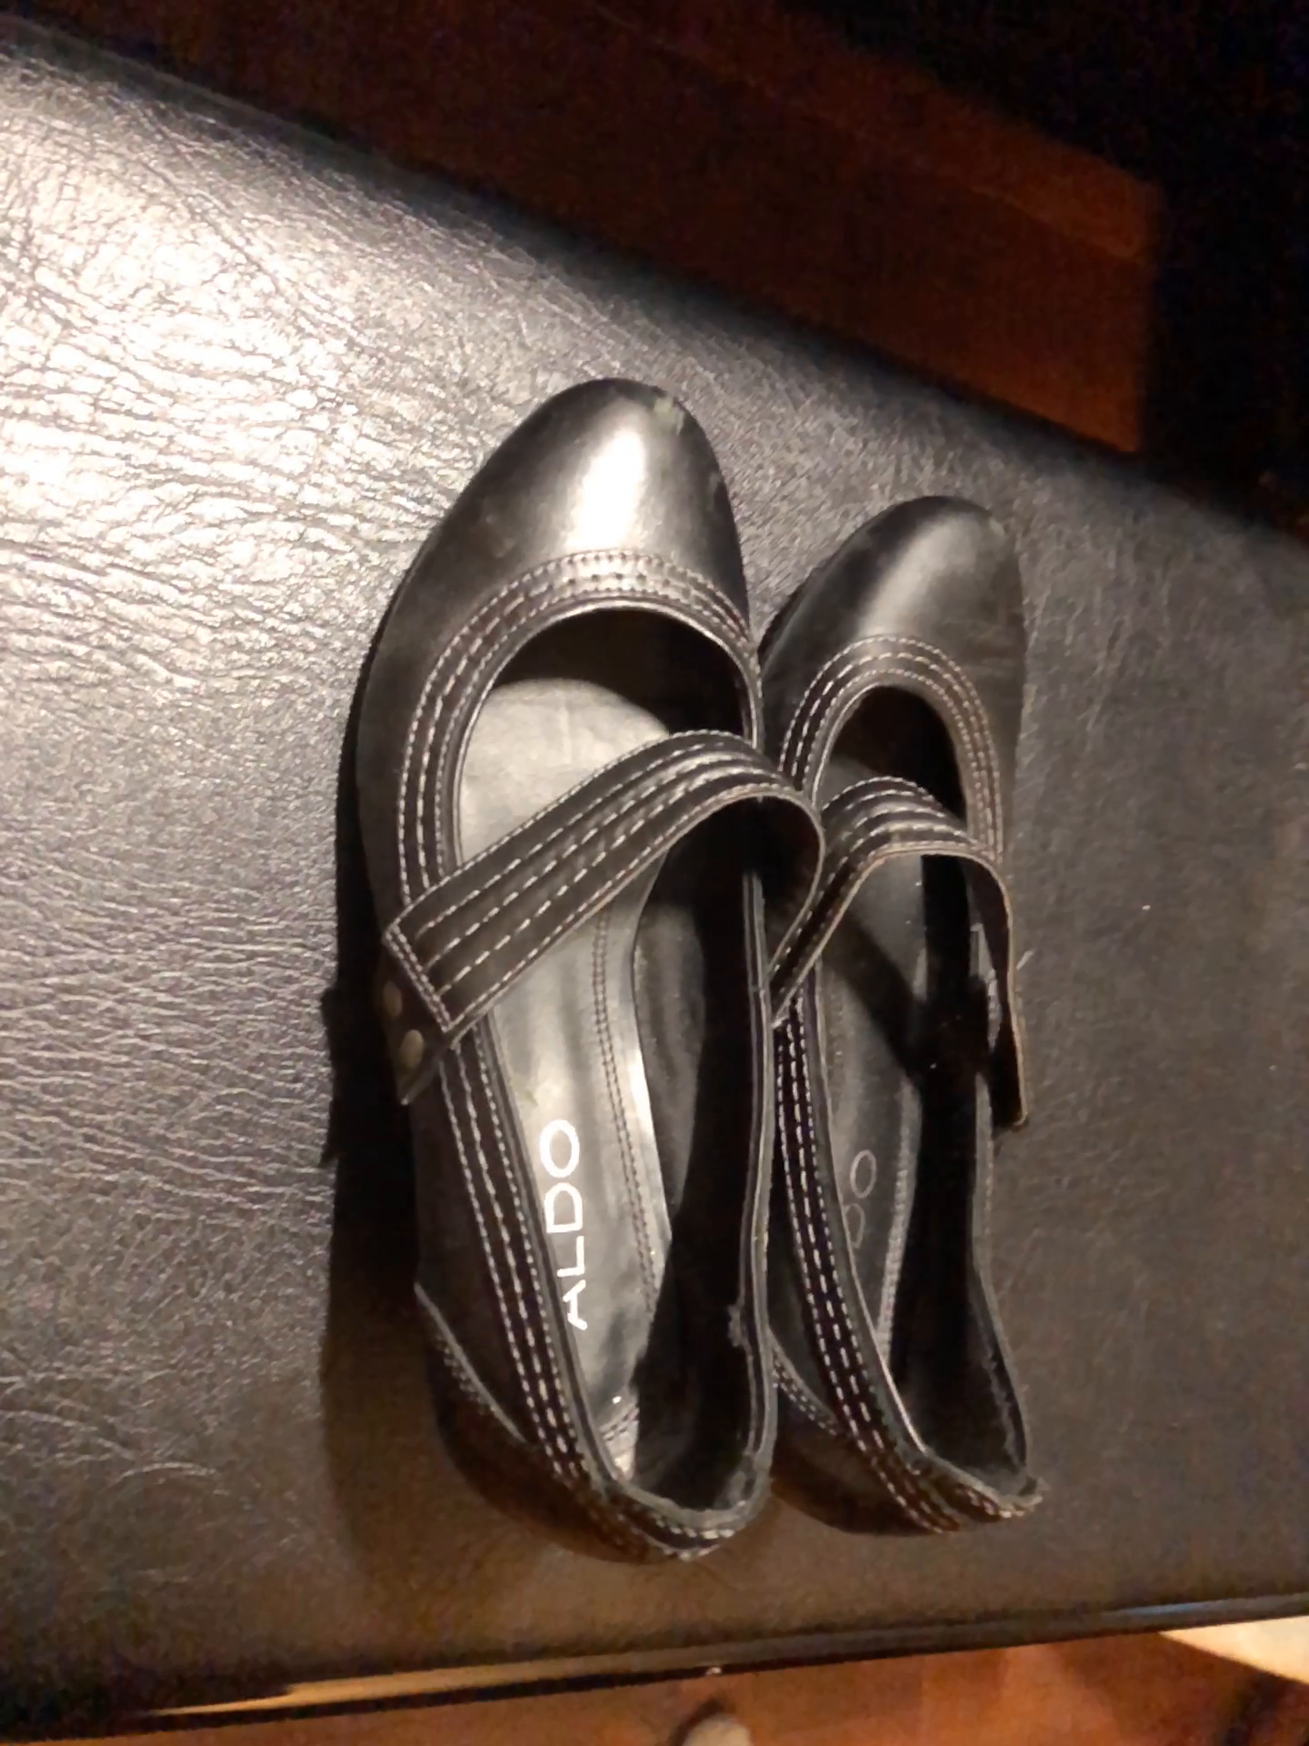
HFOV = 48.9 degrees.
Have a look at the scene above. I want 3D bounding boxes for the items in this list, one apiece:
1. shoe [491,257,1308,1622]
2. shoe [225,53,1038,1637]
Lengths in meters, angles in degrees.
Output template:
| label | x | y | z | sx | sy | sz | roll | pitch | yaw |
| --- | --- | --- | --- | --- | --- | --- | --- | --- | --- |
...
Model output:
| label | x | y | z | sx | sy | sz | roll | pitch | yaw |
| --- | --- | --- | --- | --- | --- | --- | --- | --- | --- |
| shoe | 0.060 | 0.015 | 0.321 | 0.100 | 0.110 | 0.240 | 19 | 78 | -26 |
| shoe | -0.008 | -0.002 | 0.287 | 0.100 | 0.110 | 0.240 | 9 | 83 | -27 |
